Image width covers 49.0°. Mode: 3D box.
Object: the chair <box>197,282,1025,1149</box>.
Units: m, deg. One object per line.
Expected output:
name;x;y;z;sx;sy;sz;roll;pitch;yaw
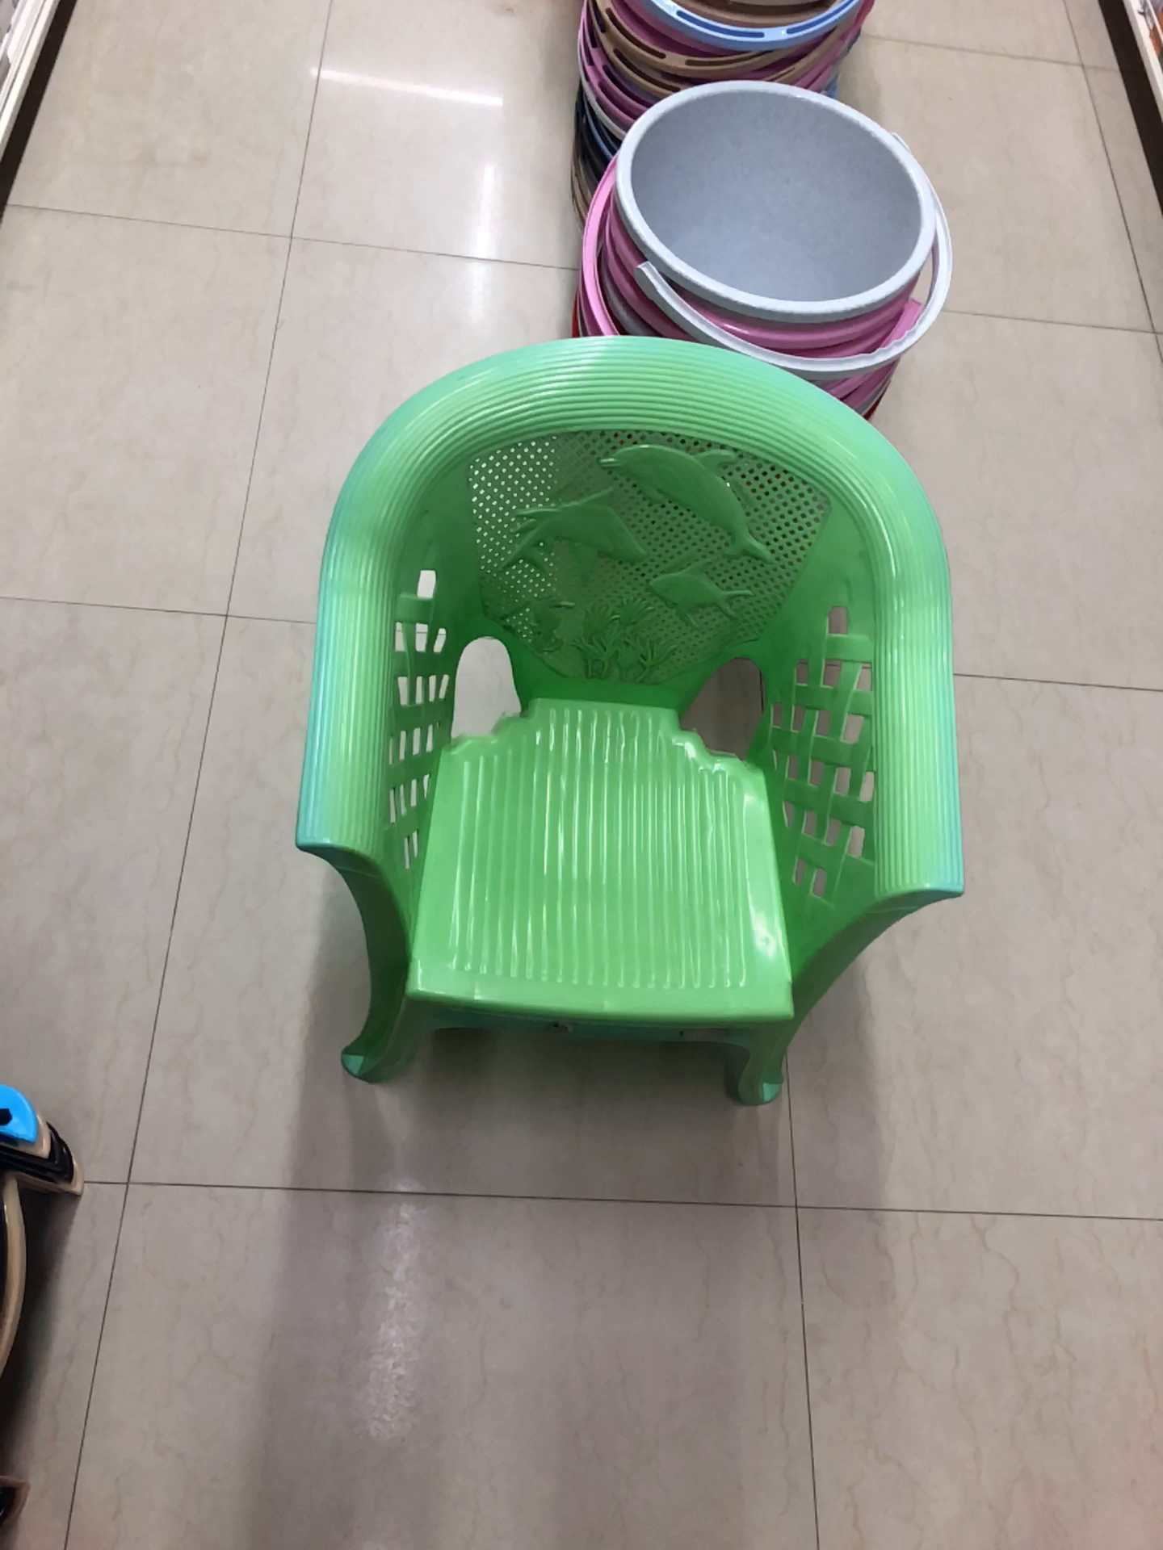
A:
chair;0.005;-0.015;0.942;0.430;0.398;0.472;5;62;-5
